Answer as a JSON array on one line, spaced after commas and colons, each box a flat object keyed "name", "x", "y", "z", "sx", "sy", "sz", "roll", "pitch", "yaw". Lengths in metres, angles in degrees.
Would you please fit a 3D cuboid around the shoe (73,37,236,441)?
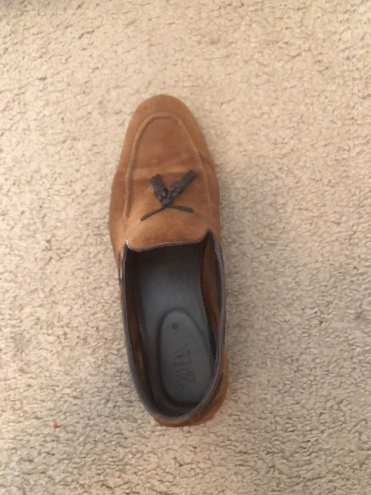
[{"name": "shoe", "x": -0.023, "y": -0.007, "z": 0.356, "sx": 0.090, "sy": 0.100, "sz": 0.292, "roll": -8, "pitch": 81, "yaw": 9}]
